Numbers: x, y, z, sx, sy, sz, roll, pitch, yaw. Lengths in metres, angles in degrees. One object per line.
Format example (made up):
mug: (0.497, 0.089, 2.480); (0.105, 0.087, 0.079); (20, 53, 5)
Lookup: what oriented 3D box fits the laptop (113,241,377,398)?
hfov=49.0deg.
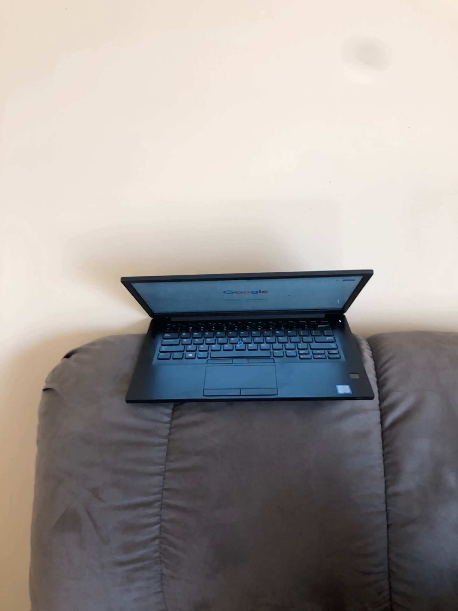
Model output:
laptop: (0.023, 0.010, 0.731); (0.321, 0.128, 0.214); (-1, 26, 3)
